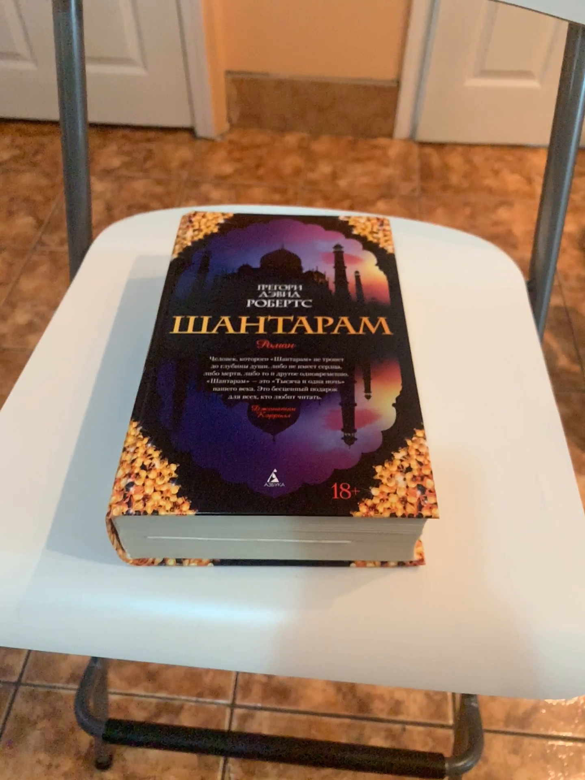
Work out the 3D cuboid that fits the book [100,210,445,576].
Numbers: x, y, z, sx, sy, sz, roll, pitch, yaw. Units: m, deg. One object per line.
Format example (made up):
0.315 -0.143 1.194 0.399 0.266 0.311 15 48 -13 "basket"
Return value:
-0.007 -0.017 0.348 0.145 0.044 0.237 0 49 1 "book"
